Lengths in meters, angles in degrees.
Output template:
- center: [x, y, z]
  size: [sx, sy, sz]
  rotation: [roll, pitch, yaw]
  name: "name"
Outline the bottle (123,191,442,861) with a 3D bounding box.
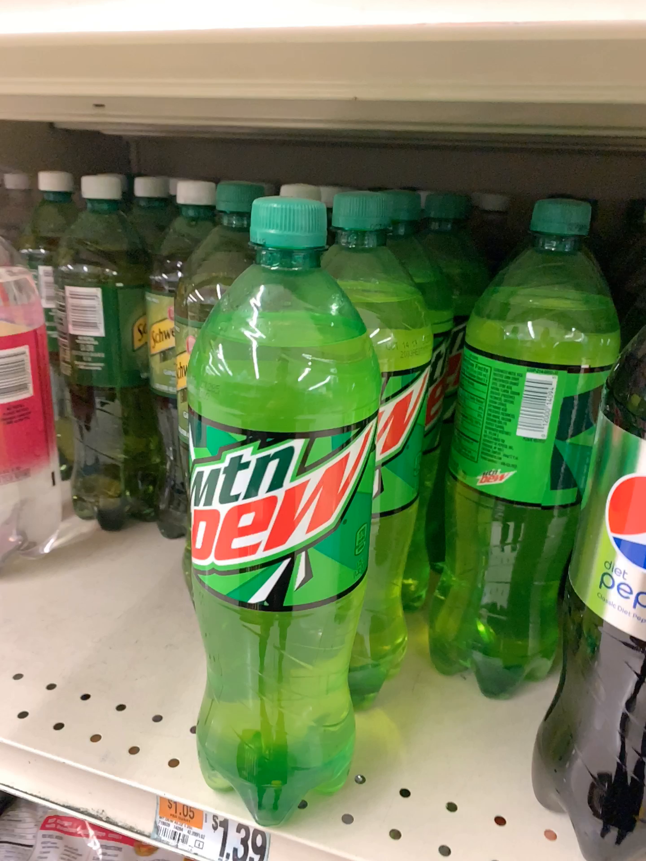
- center: [-0.017, 0.048, 0.319]
  size: [0.100, 0.302, 0.090]
  rotation: [10, 21, 19]
  name: "bottle"
